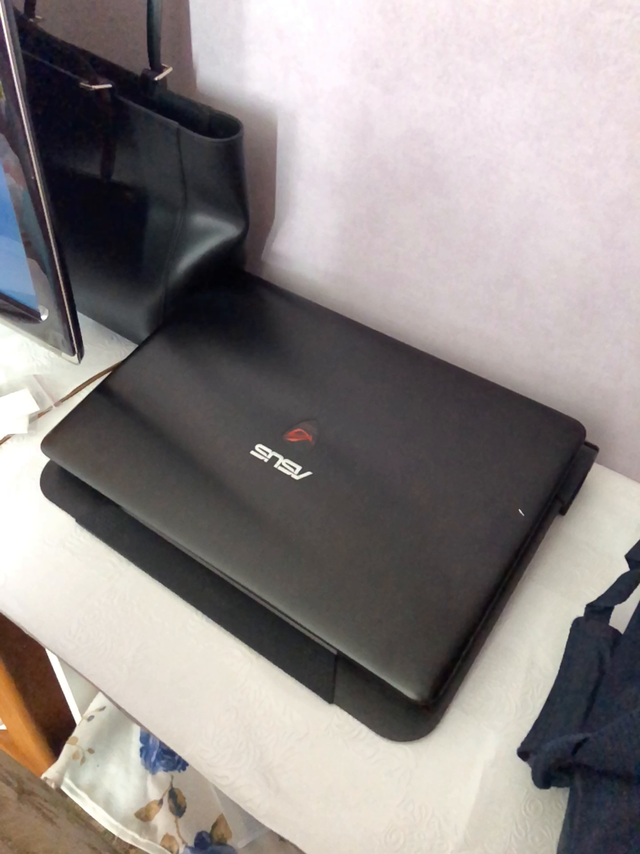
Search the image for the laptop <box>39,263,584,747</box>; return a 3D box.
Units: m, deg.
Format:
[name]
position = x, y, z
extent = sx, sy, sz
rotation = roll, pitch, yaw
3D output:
[laptop]
position = -0.015, 0.027, 0.619
extent = 0.395, 0.060, 0.267
rotation = 27, 60, 23
